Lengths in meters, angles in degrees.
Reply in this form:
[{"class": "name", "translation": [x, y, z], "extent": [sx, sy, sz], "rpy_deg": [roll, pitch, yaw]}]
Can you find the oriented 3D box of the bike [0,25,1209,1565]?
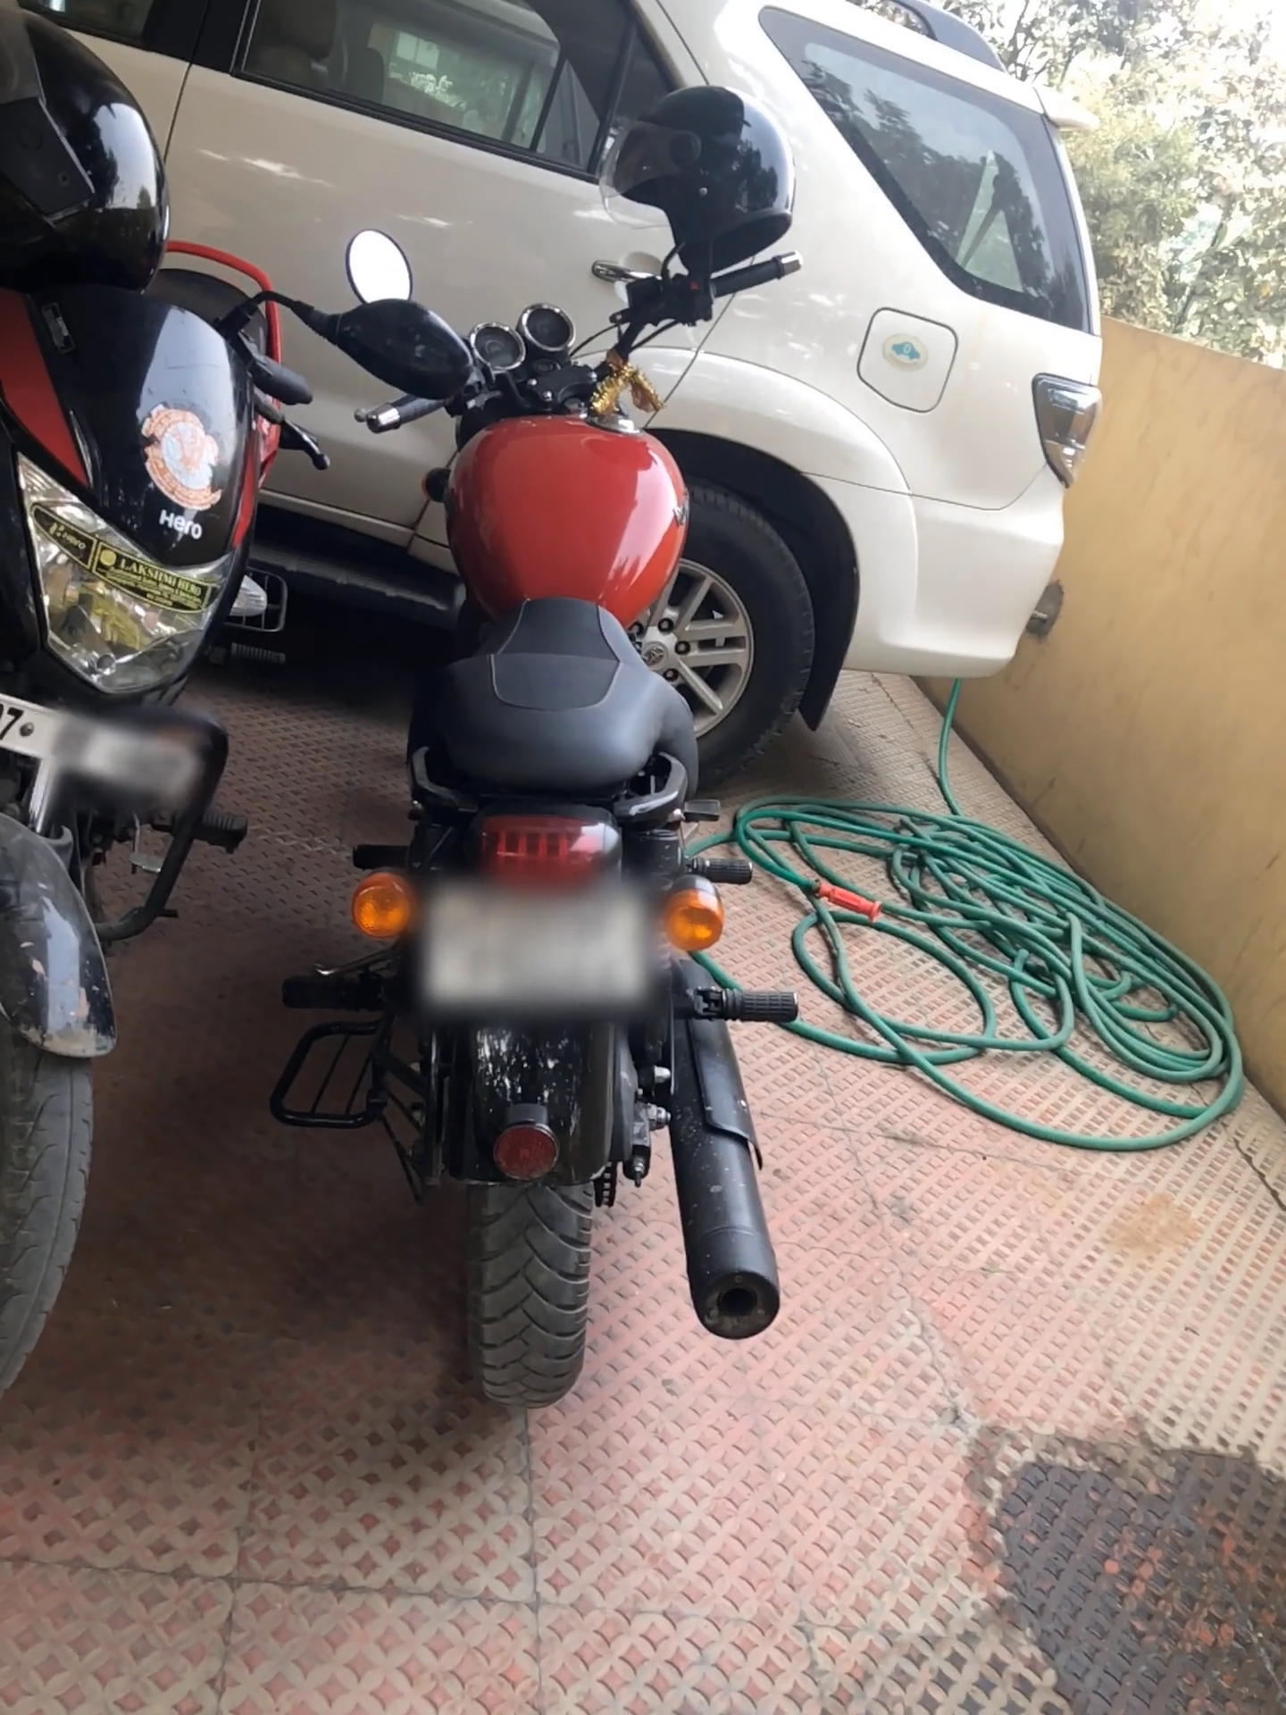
[{"class": "bike", "translation": [-0.257, -0.256, 1.972], "extent": [0.820, 1.271, 1.721], "rpy_deg": [13, 24, -13]}]
